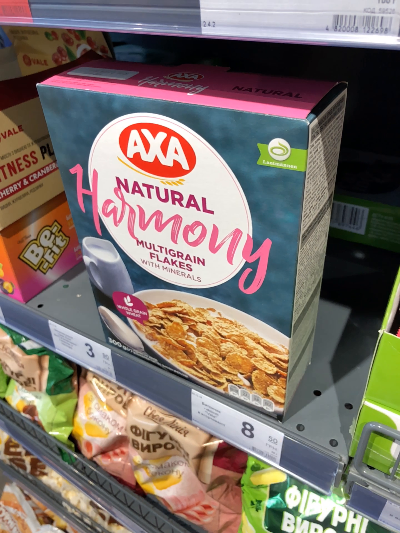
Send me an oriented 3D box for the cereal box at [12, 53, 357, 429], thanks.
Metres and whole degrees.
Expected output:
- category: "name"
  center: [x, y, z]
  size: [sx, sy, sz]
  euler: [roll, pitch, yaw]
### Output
- category: "cereal box"
  center: [-0.008, -0.016, 0.310]
  size: [0.180, 0.218, 0.070]
  euler: [17, 43, 26]
